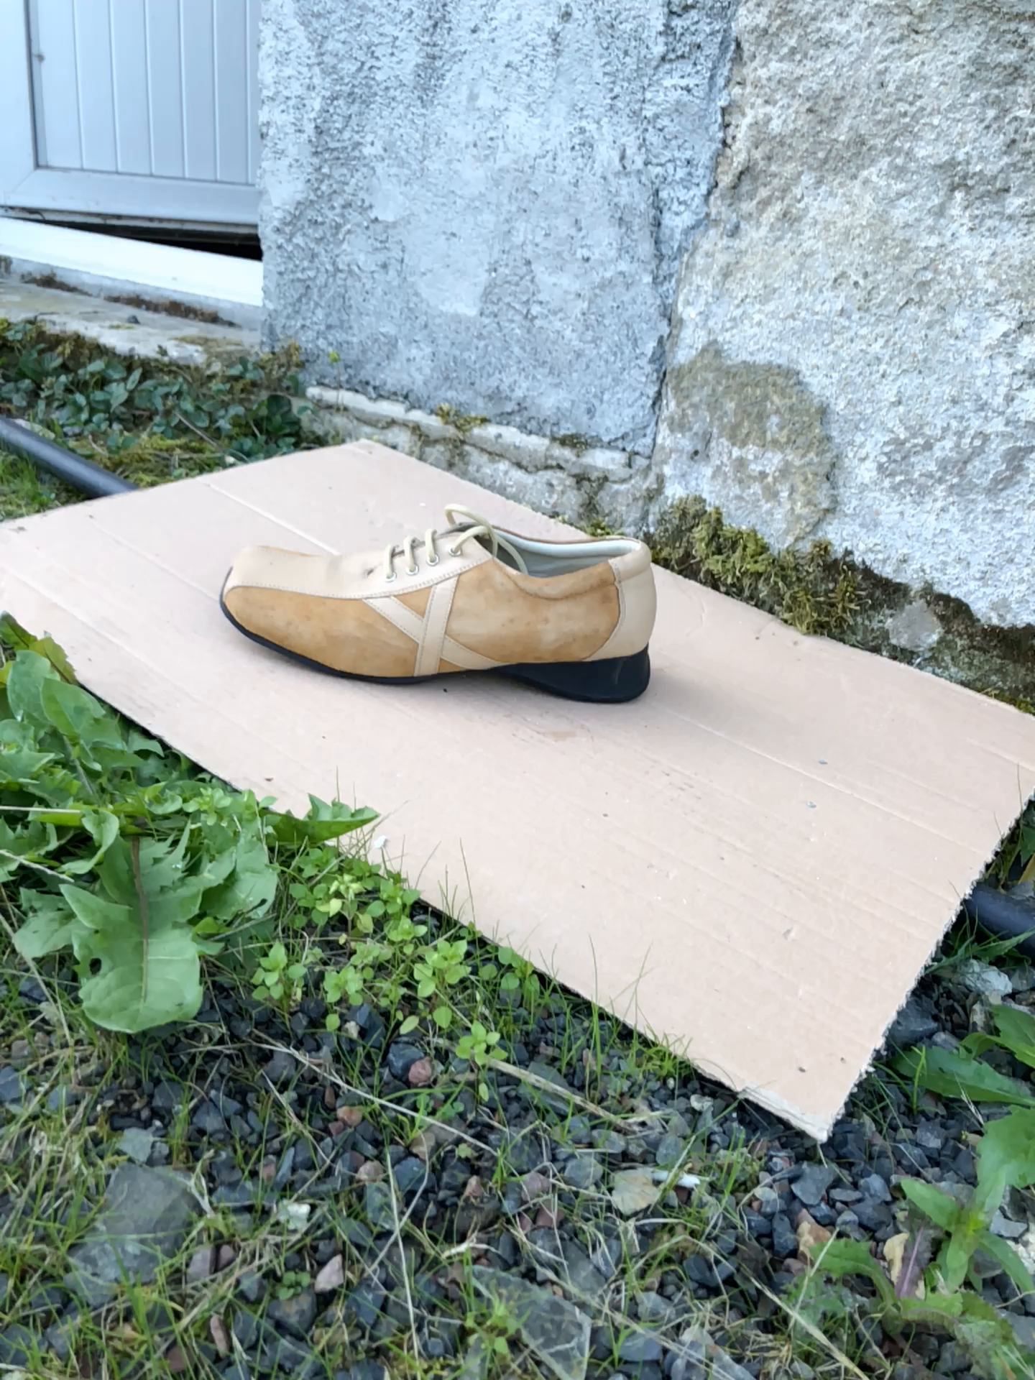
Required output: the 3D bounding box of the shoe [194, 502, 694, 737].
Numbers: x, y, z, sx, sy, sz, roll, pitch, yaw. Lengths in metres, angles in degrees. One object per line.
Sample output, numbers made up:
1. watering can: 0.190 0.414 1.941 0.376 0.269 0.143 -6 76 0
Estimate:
1. shoe: -0.040 -0.045 0.671 0.270 0.080 0.101 6 24 2
